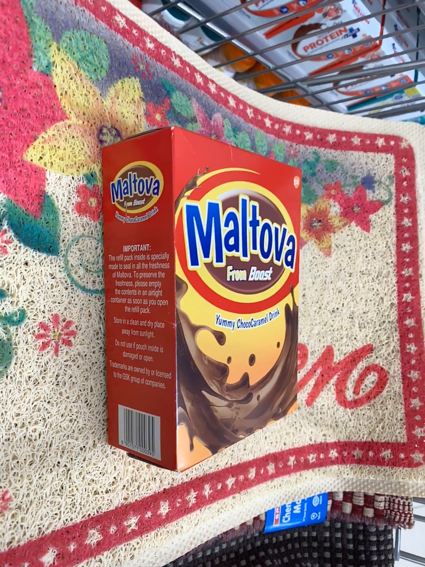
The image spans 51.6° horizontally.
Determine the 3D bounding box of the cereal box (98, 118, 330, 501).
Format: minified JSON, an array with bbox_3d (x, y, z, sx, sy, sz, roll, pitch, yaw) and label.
[{"bbox_3d":[0.012,0.010,0.267,0.151,0.050,0.170,-3,92,-48],"label":"cereal box"}]
